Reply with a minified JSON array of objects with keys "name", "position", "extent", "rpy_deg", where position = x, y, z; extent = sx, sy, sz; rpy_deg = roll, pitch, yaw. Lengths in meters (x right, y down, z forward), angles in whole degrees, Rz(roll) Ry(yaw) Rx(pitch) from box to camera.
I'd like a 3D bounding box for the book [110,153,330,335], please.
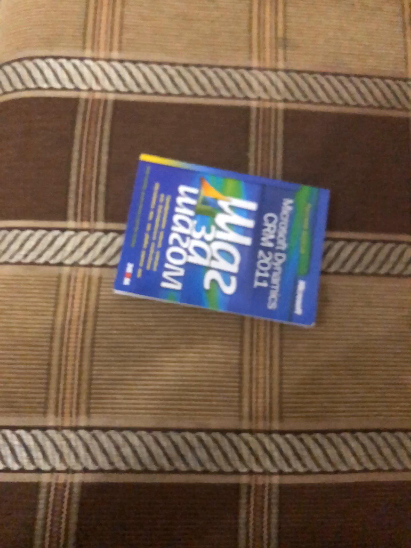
[{"name":"book","position":[0.018,-0.030,0.475],"extent":[0.200,0.033,0.150],"rpy_deg":[10,79,-3]}]
